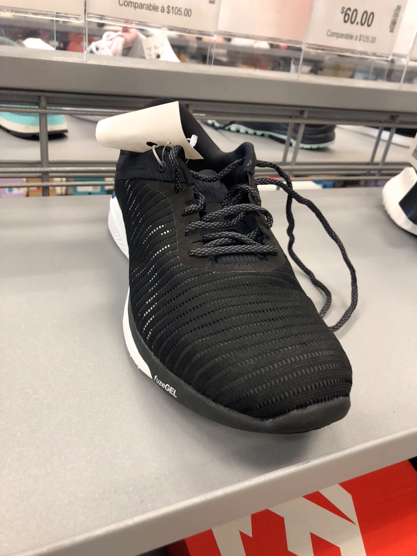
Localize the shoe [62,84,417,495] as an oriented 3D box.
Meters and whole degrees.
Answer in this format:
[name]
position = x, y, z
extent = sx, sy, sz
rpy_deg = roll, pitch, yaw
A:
[shoe]
position = -0.013, -0.037, 0.318
extent = 0.120, 0.119, 0.302
rpy_deg = -6, 33, -25
